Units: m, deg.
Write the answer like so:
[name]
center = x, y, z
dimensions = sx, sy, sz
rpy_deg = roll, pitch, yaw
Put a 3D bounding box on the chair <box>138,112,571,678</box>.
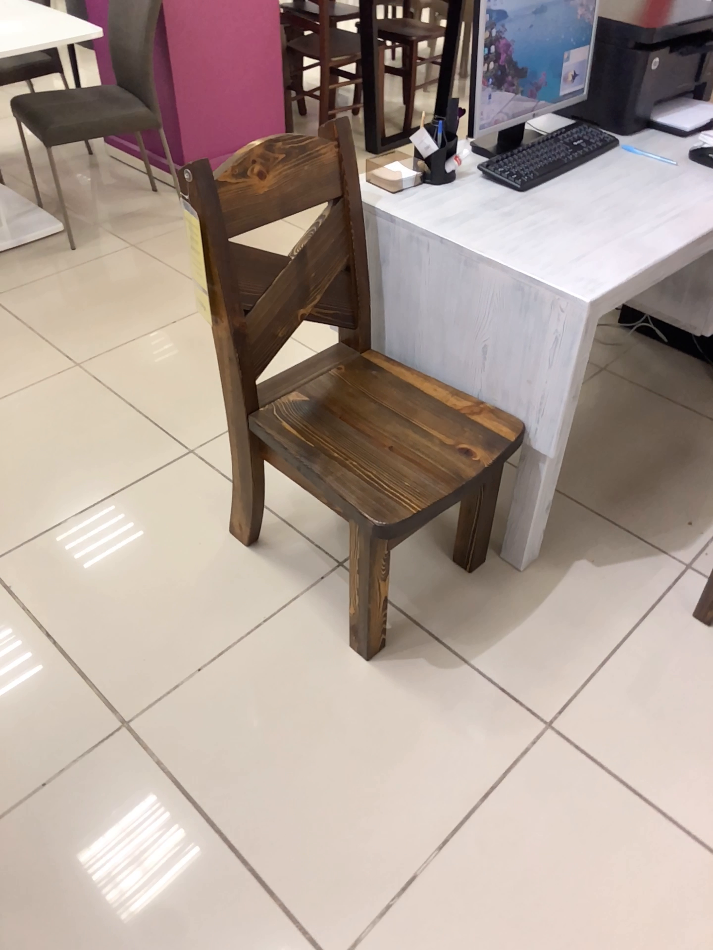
[chair]
center = -0.016, -0.155, 1.602
dimensions = 0.571, 0.896, 0.451
rpy_deg = 33, 50, 31
